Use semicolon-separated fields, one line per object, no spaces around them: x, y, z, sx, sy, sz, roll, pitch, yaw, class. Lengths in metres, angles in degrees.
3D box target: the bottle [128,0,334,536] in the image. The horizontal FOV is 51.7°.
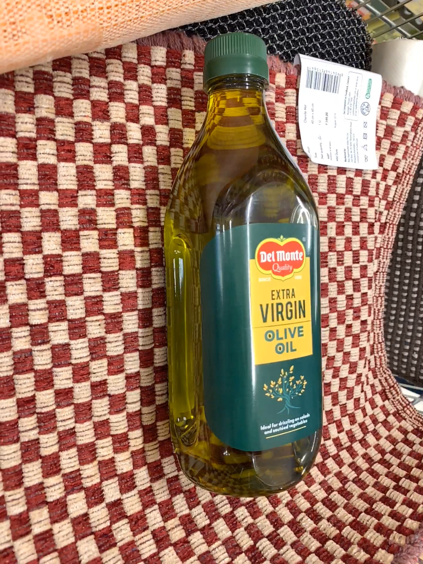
0.011;-0.015;0.245;0.080;0.080;0.250;-2;93;-40;bottle
